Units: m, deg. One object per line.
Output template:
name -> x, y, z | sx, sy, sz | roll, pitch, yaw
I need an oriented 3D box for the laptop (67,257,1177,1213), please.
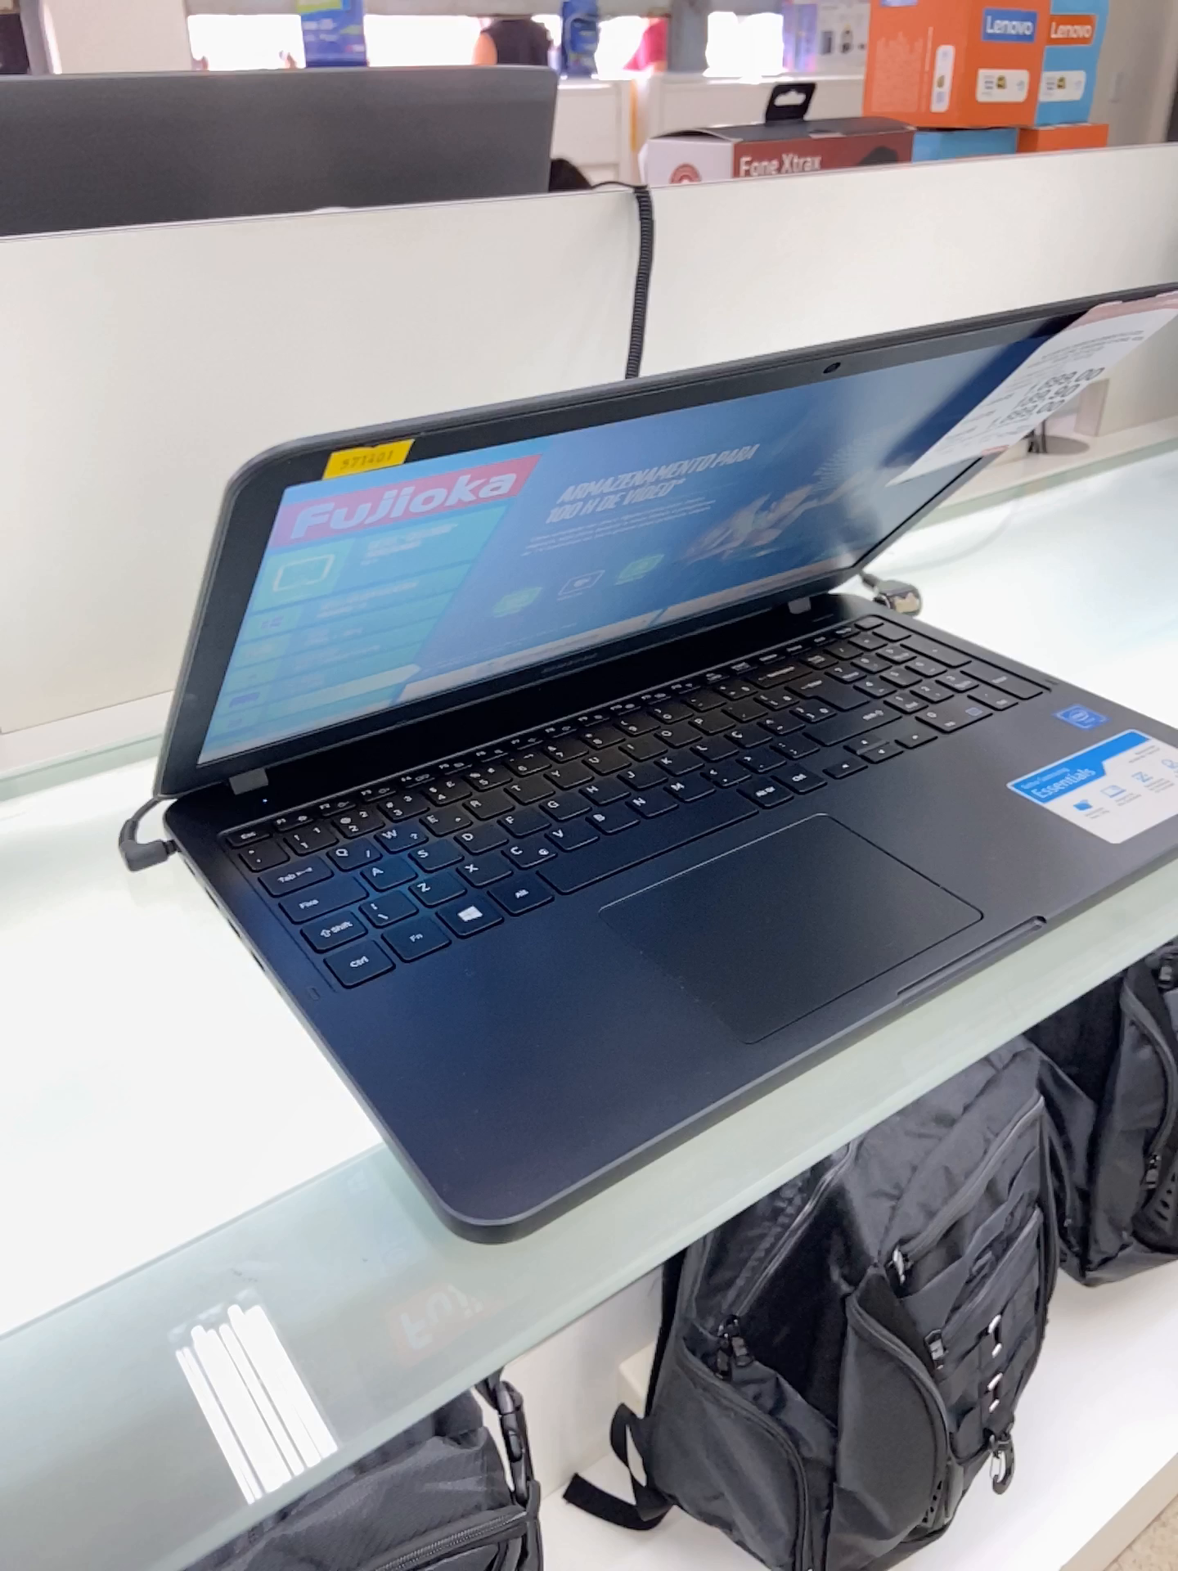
laptop -> 0.055, -0.072, 0.443 | 0.373, 0.173, 0.246 | -20, 35, -30
